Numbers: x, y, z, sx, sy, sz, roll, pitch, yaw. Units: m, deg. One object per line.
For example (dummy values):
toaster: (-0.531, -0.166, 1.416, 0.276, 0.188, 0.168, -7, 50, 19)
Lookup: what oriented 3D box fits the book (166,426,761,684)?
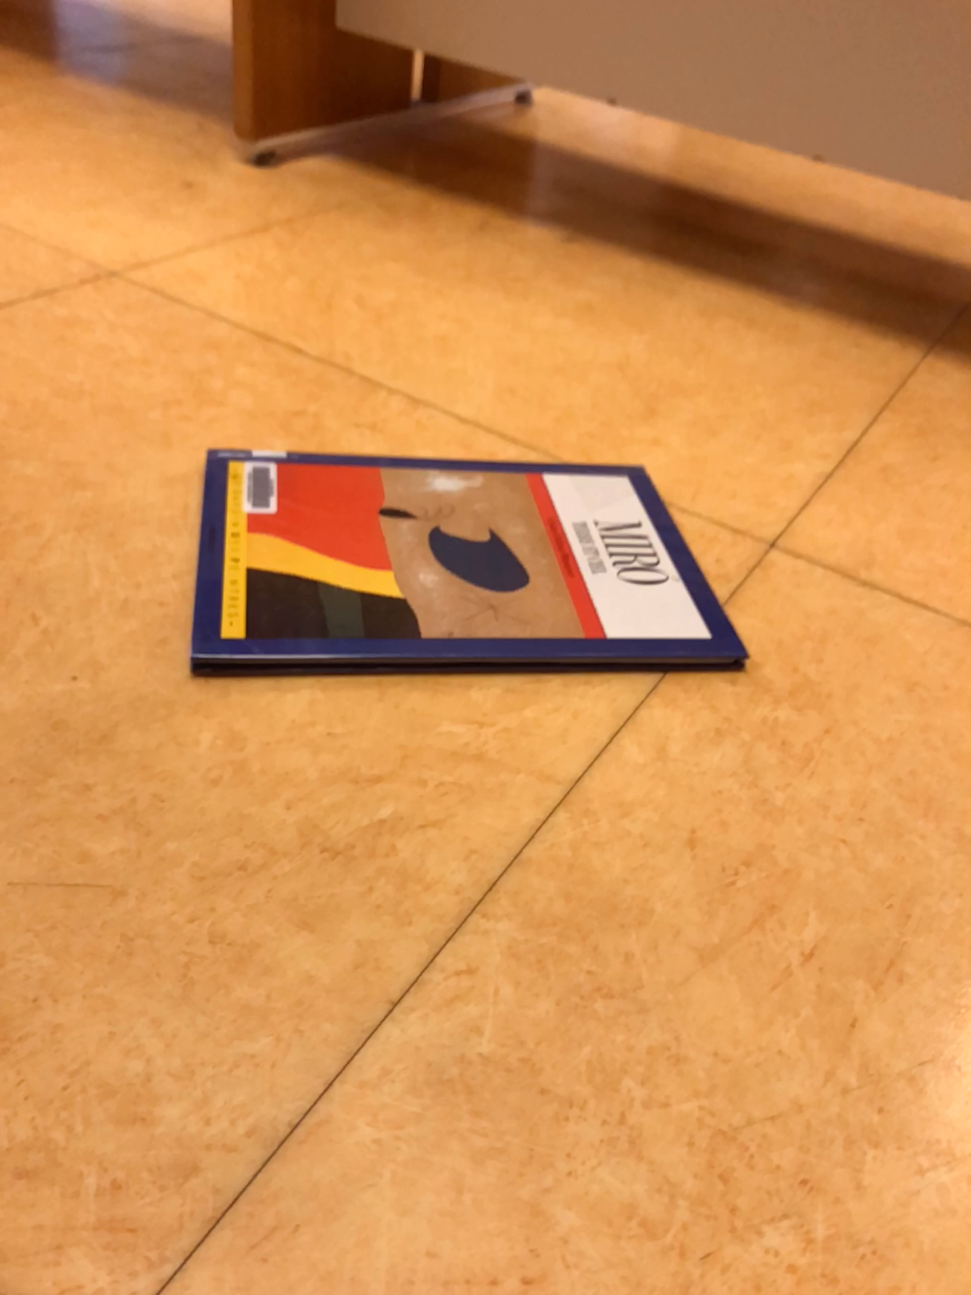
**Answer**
book: (-0.017, -0.048, 0.510, 0.245, 0.020, 0.178, 0, 38, -13)
